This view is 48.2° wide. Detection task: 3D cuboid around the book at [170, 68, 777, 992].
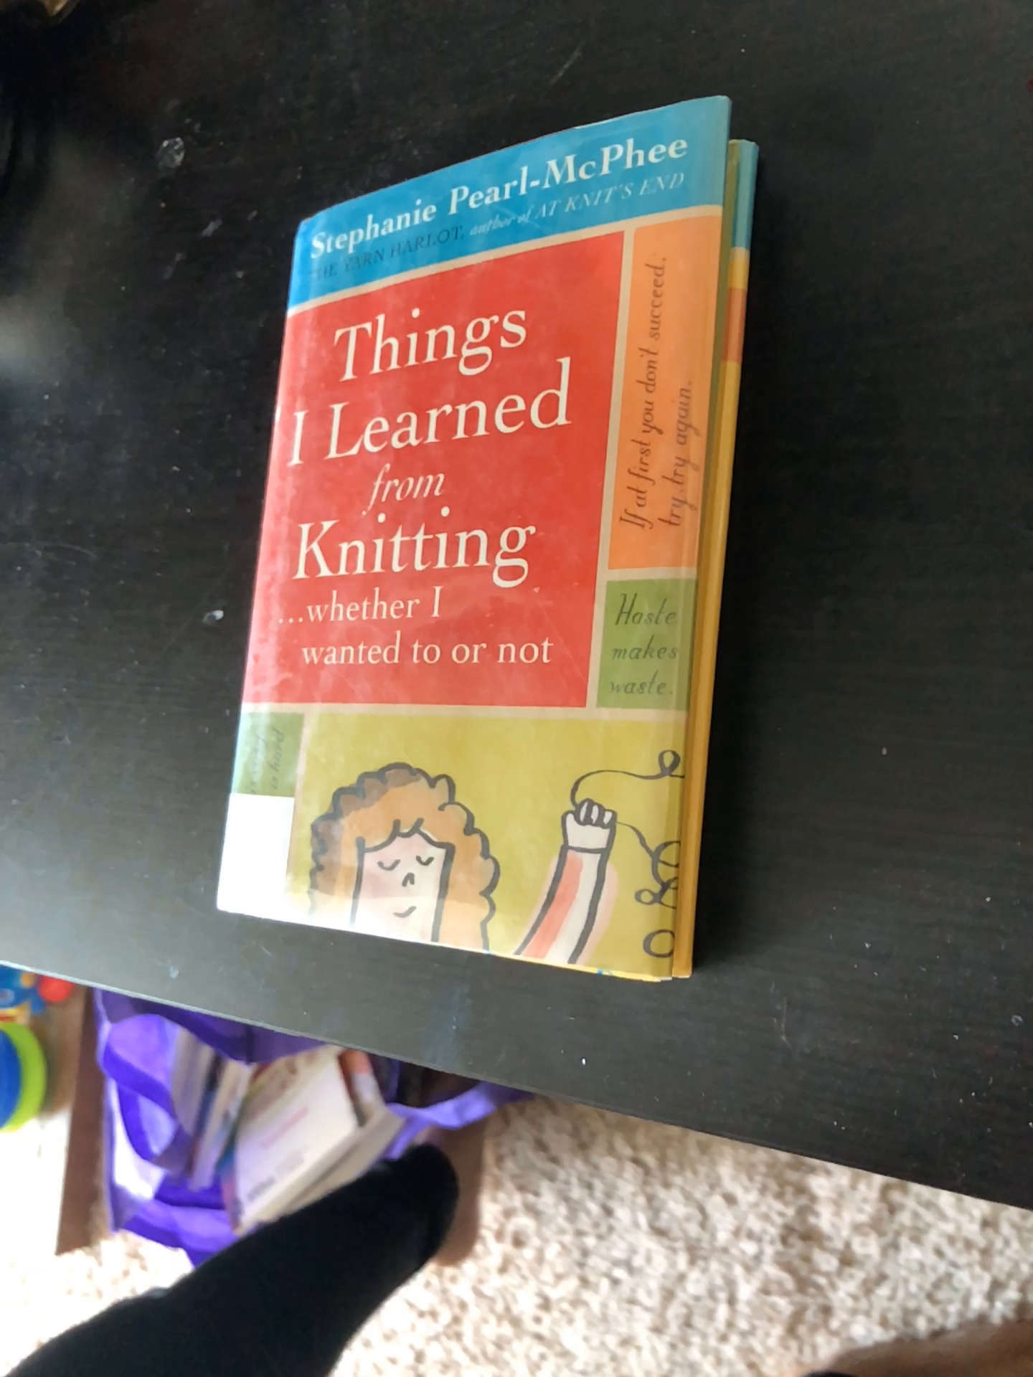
[{"bbox_3d":[-0.012,-0.031,0.243,0.118,0.023,0.166,1,82,32],"label":"book"}]
